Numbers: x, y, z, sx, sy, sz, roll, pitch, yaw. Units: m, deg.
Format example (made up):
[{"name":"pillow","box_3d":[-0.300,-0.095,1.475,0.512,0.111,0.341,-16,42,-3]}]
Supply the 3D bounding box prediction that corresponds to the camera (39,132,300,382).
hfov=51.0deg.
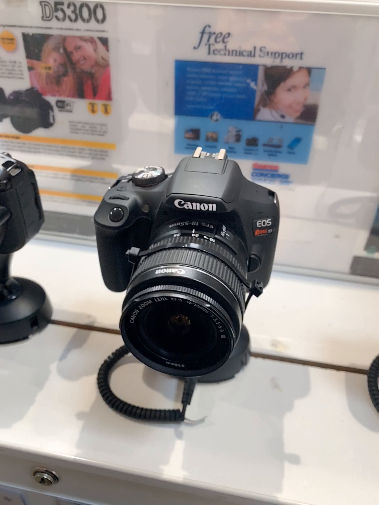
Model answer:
[{"name":"camera","box_3d":[-0.006,-0.004,0.256,0.122,0.104,0.110,7,34,5]}]
